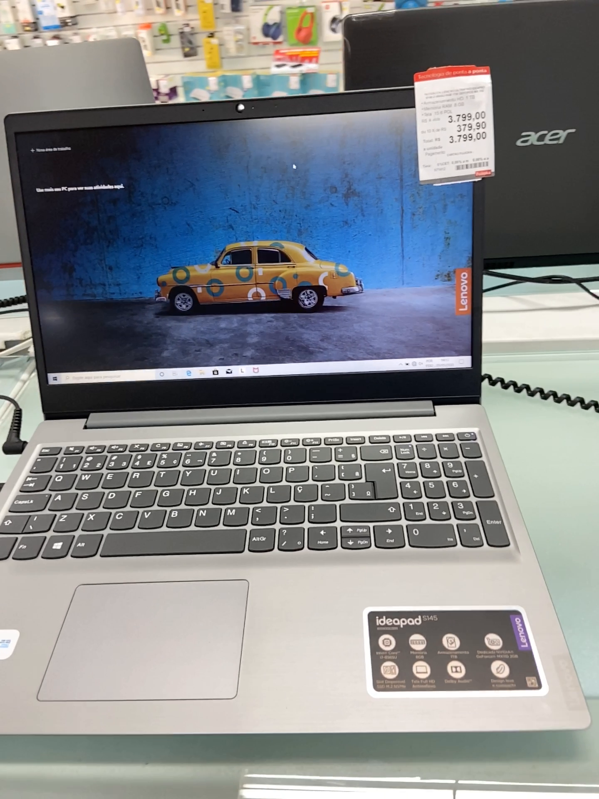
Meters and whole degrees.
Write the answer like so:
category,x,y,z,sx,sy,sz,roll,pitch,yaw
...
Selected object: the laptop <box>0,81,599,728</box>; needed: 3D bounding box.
category,x,y,z,sx,sy,sz,roll,pitch,yaw
laptop,-0.044,-0.032,0.386,0.364,0.213,0.362,-2,37,4
